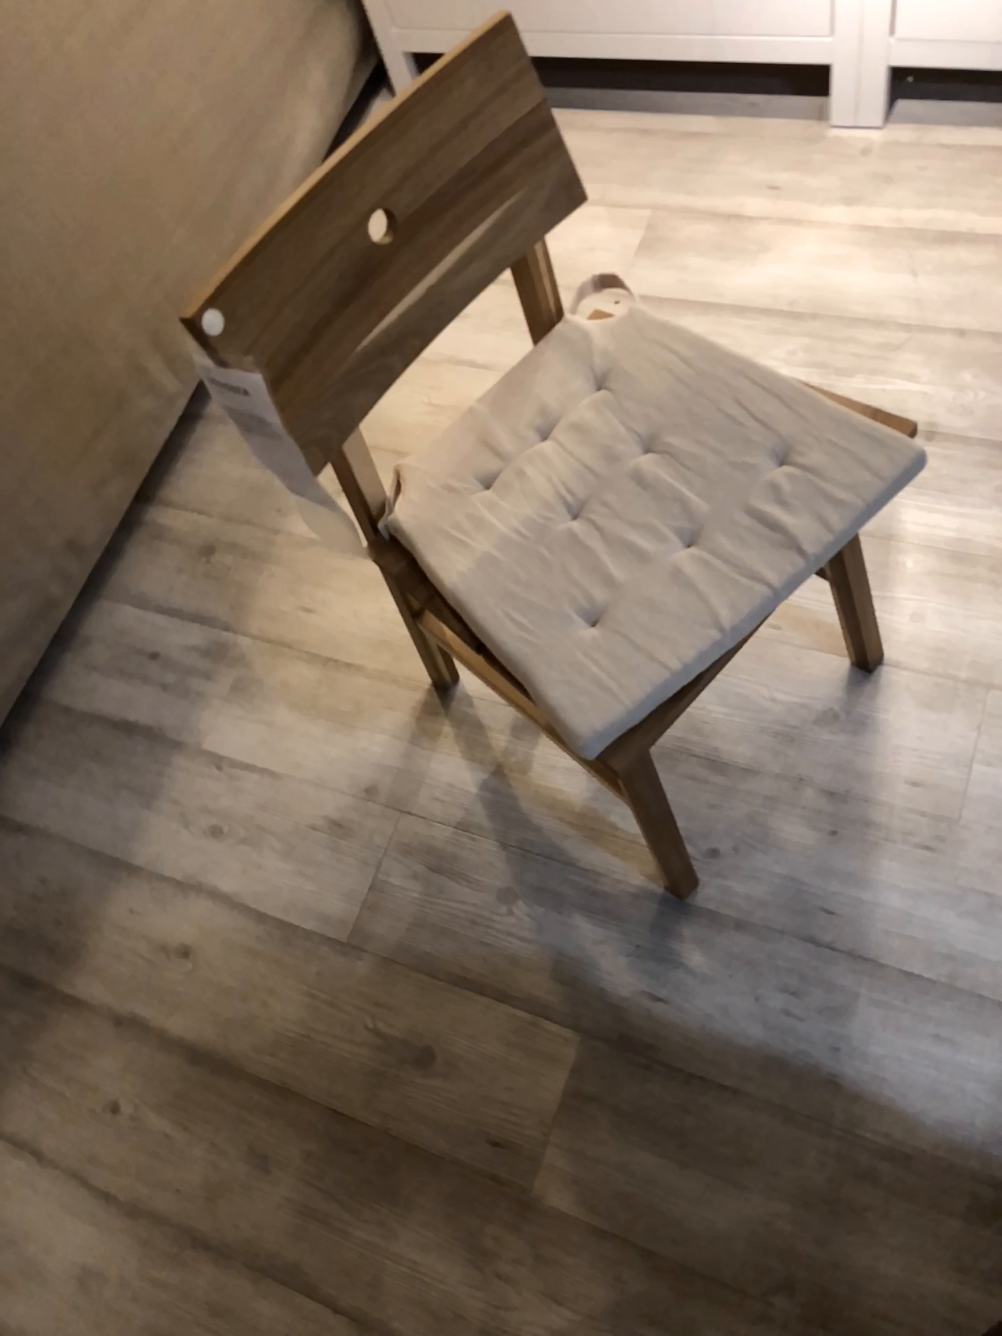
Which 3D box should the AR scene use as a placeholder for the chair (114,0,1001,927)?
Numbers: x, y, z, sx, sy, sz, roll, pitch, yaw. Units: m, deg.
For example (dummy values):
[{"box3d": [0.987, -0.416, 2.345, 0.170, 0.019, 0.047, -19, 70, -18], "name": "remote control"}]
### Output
[{"box3d": [0.115, -0.181, 1.061, 0.531, 0.599, 0.500, 36, 77, 27], "name": "chair"}]
